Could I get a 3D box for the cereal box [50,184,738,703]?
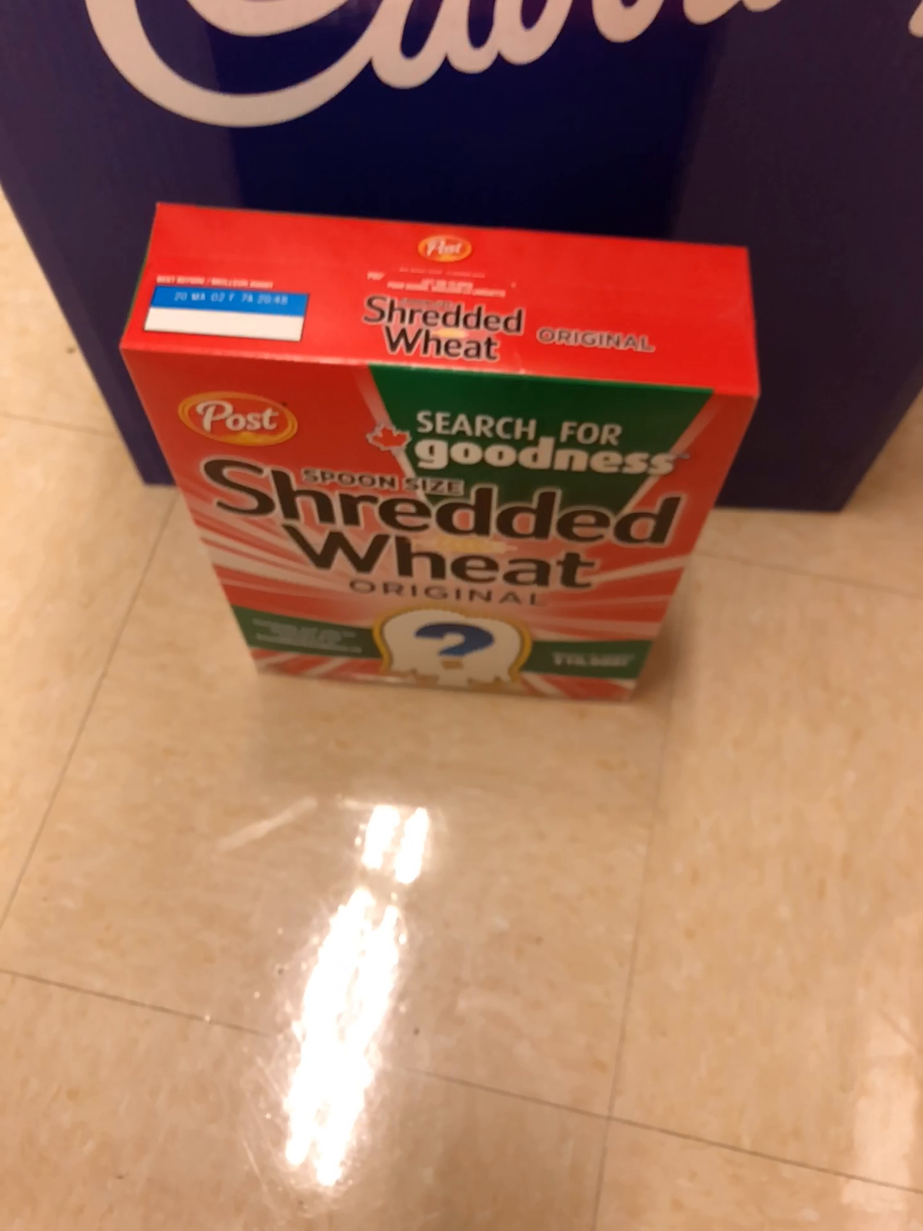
[{"bbox_3d":[-0.020,-0.049,0.448,0.210,0.269,0.070,3,64,1],"label":"cereal box"}]
